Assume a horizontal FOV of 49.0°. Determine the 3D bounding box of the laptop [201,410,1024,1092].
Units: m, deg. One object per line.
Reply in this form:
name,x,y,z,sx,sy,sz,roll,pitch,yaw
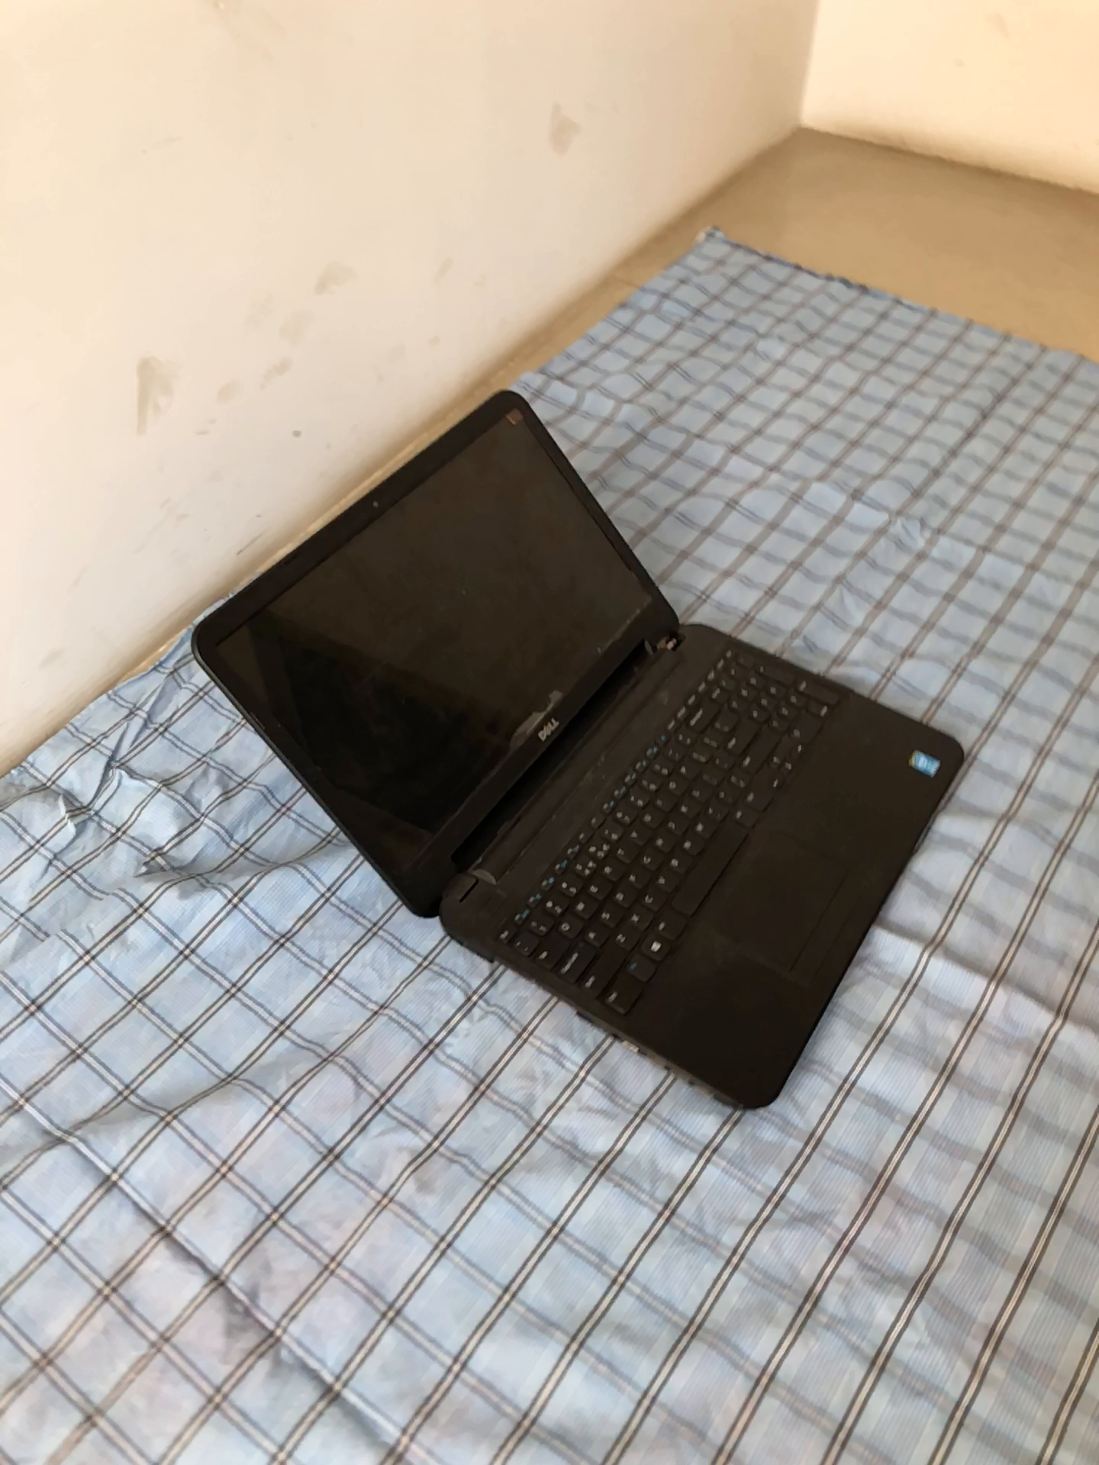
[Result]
laptop,0.050,-0.022,0.852,0.413,0.163,0.357,25,50,22
